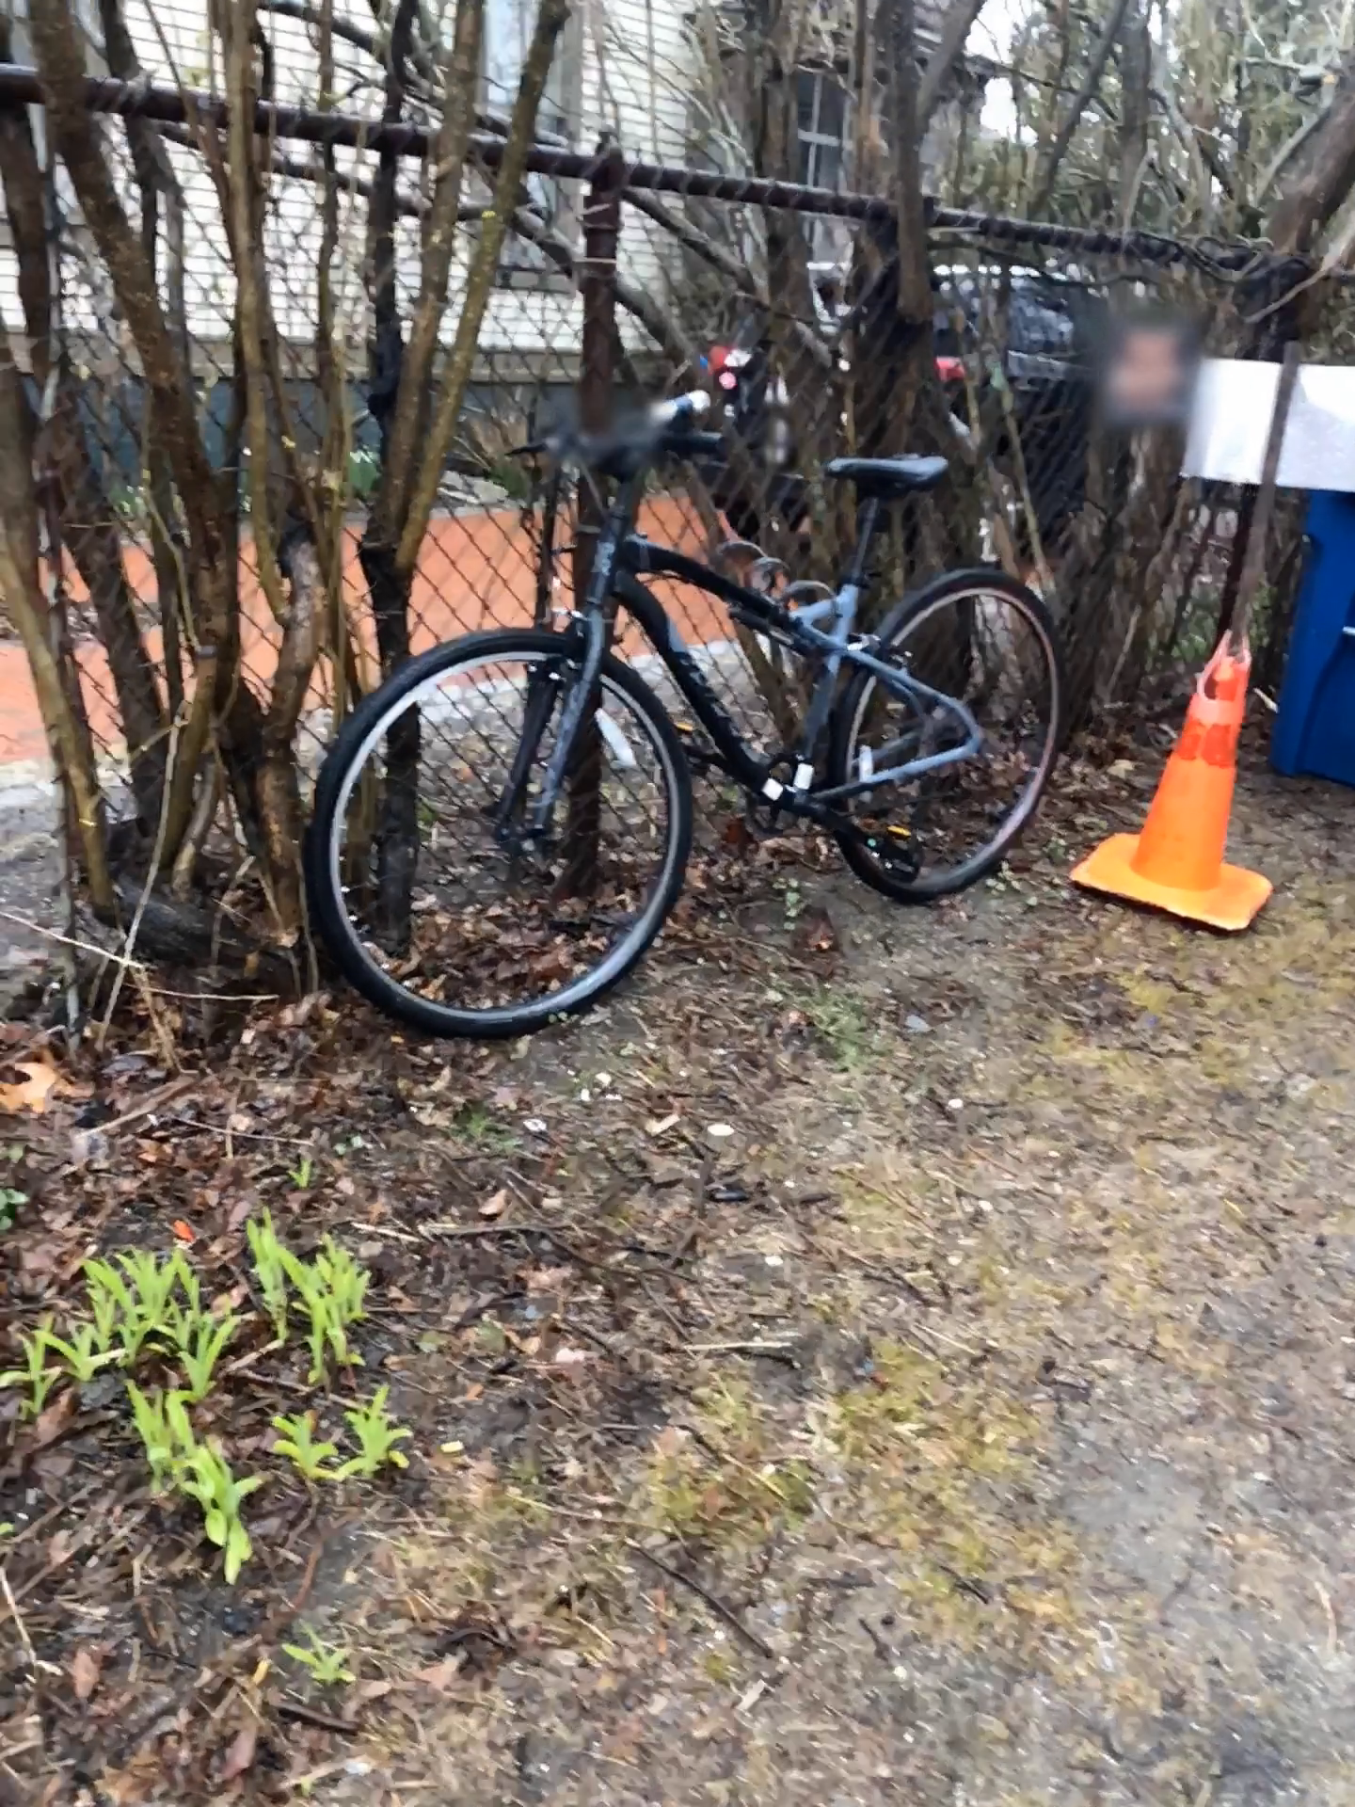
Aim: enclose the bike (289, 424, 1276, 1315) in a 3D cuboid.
[{"bbox_3d":[0.266,-0.227,2.795,1.889,1.067,0.538,-18,29,-35],"label":"bike"}]
